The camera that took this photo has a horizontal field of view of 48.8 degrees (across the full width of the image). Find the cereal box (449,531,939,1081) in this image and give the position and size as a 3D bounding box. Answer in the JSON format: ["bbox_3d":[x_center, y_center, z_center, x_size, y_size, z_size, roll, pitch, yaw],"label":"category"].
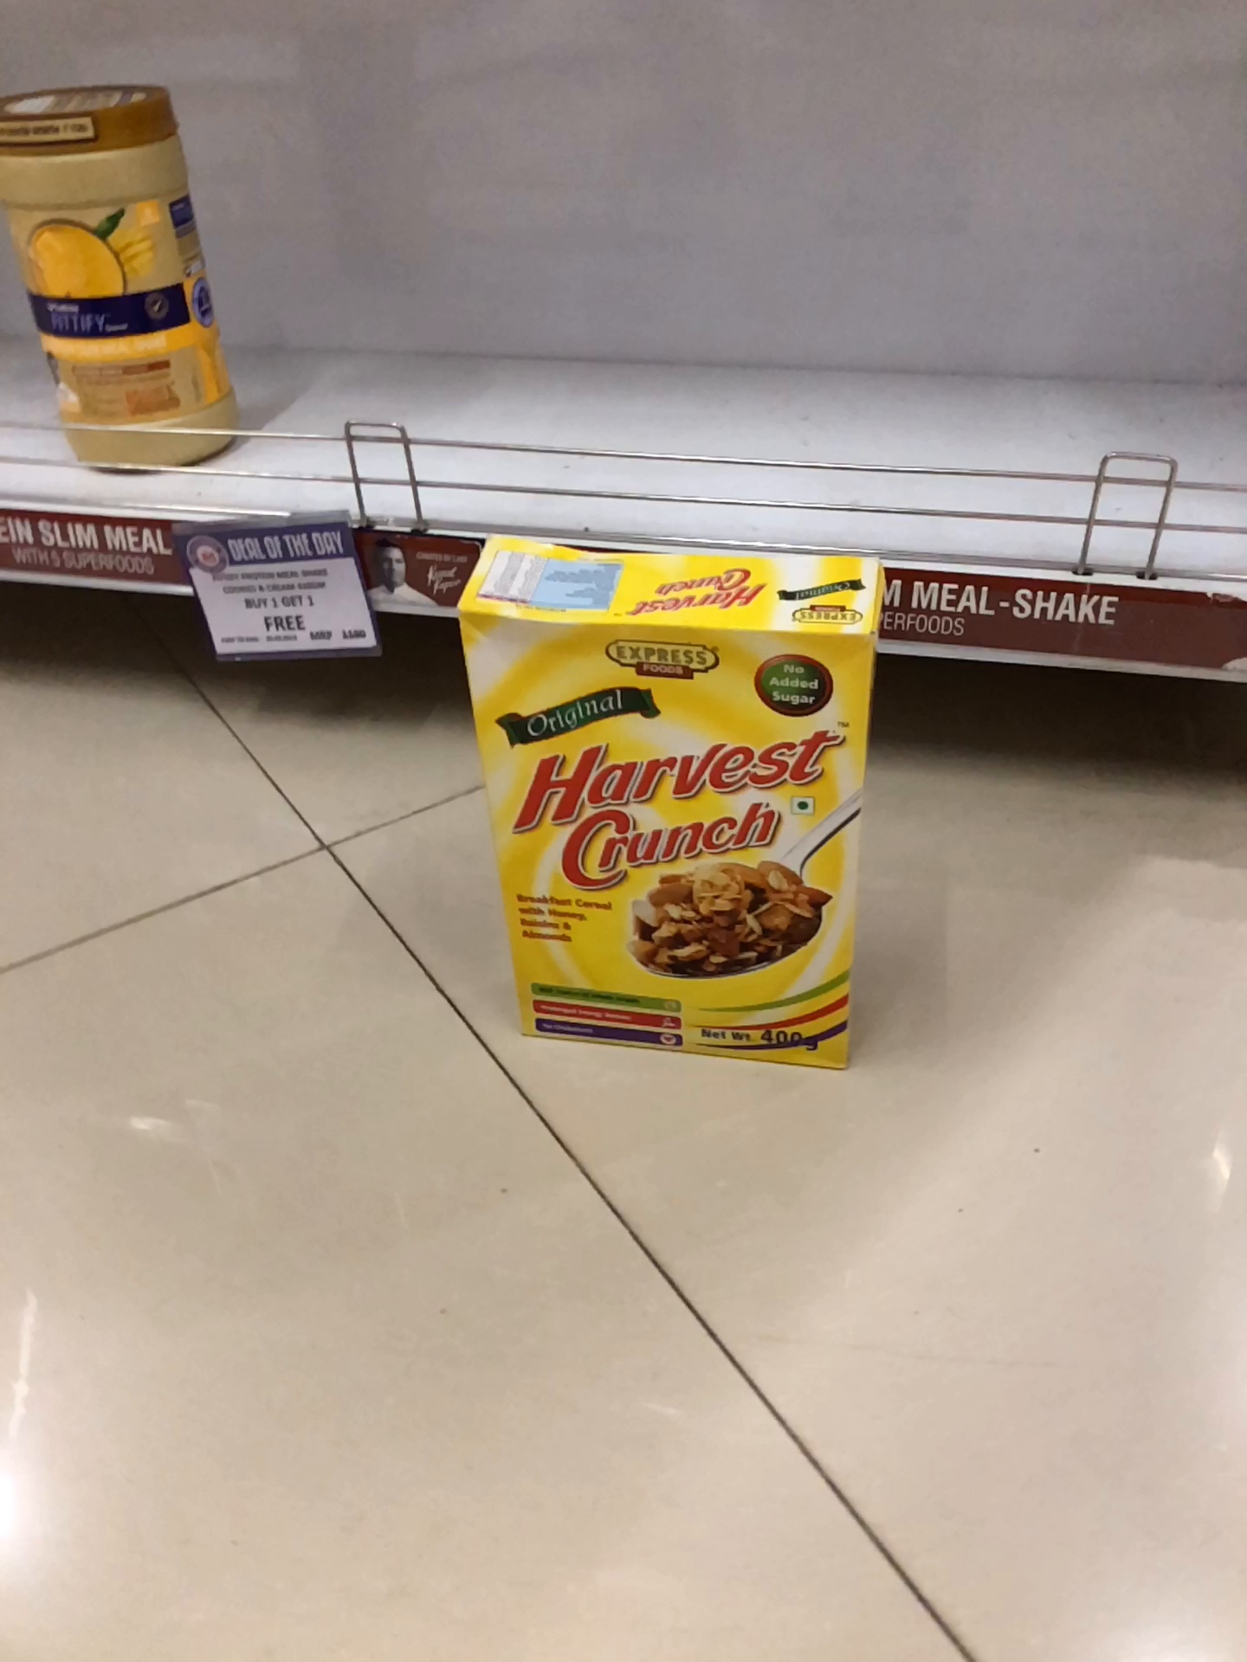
[{"bbox_3d":[0.029,-0.004,0.526,0.160,0.209,0.050,4,37,10],"label":"cereal box"}]
